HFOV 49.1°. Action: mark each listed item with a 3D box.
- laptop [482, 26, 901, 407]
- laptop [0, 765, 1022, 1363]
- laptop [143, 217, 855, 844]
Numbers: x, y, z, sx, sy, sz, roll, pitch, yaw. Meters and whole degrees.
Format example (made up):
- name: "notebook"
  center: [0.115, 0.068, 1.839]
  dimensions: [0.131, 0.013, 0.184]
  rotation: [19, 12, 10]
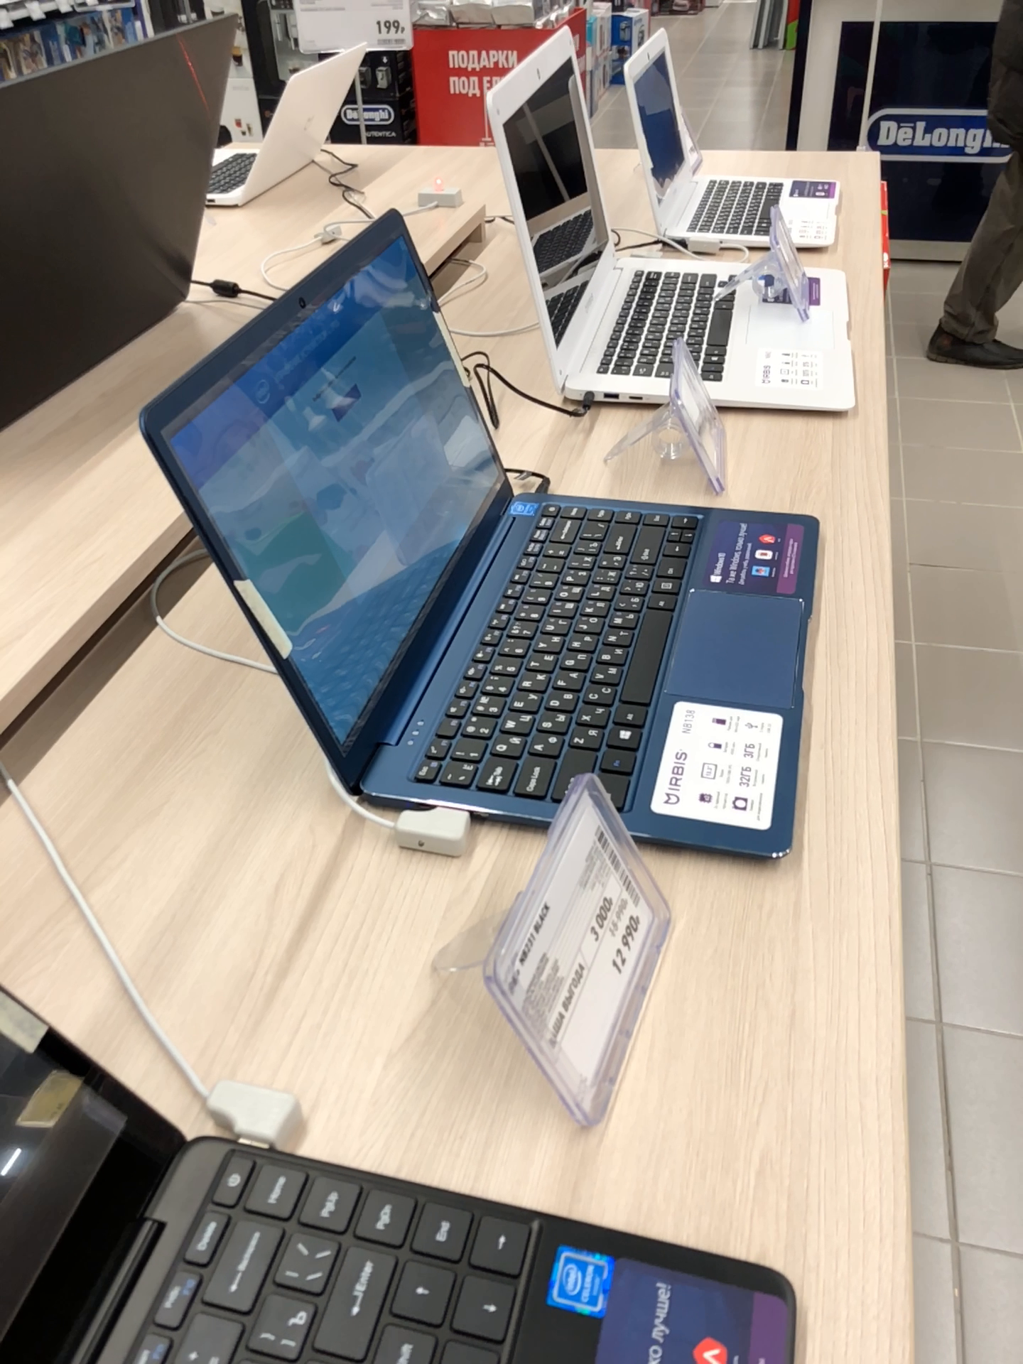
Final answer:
- name: "laptop"
  center: [0.155, -0.413, 0.960]
  dimensions: [0.288, 0.217, 0.312]
  rotation: [6, 38, 11]
- name: "laptop"
  center: [-0.109, 0.186, 0.209]
  dimensions: [0.327, 0.155, 0.302]
  rotation: [6, 36, 11]
- name: "laptop"
  center: [0.027, -0.107, 0.594]
  dimensions: [0.270, 0.185, 0.311]
  rotation: [7, 37, 13]
